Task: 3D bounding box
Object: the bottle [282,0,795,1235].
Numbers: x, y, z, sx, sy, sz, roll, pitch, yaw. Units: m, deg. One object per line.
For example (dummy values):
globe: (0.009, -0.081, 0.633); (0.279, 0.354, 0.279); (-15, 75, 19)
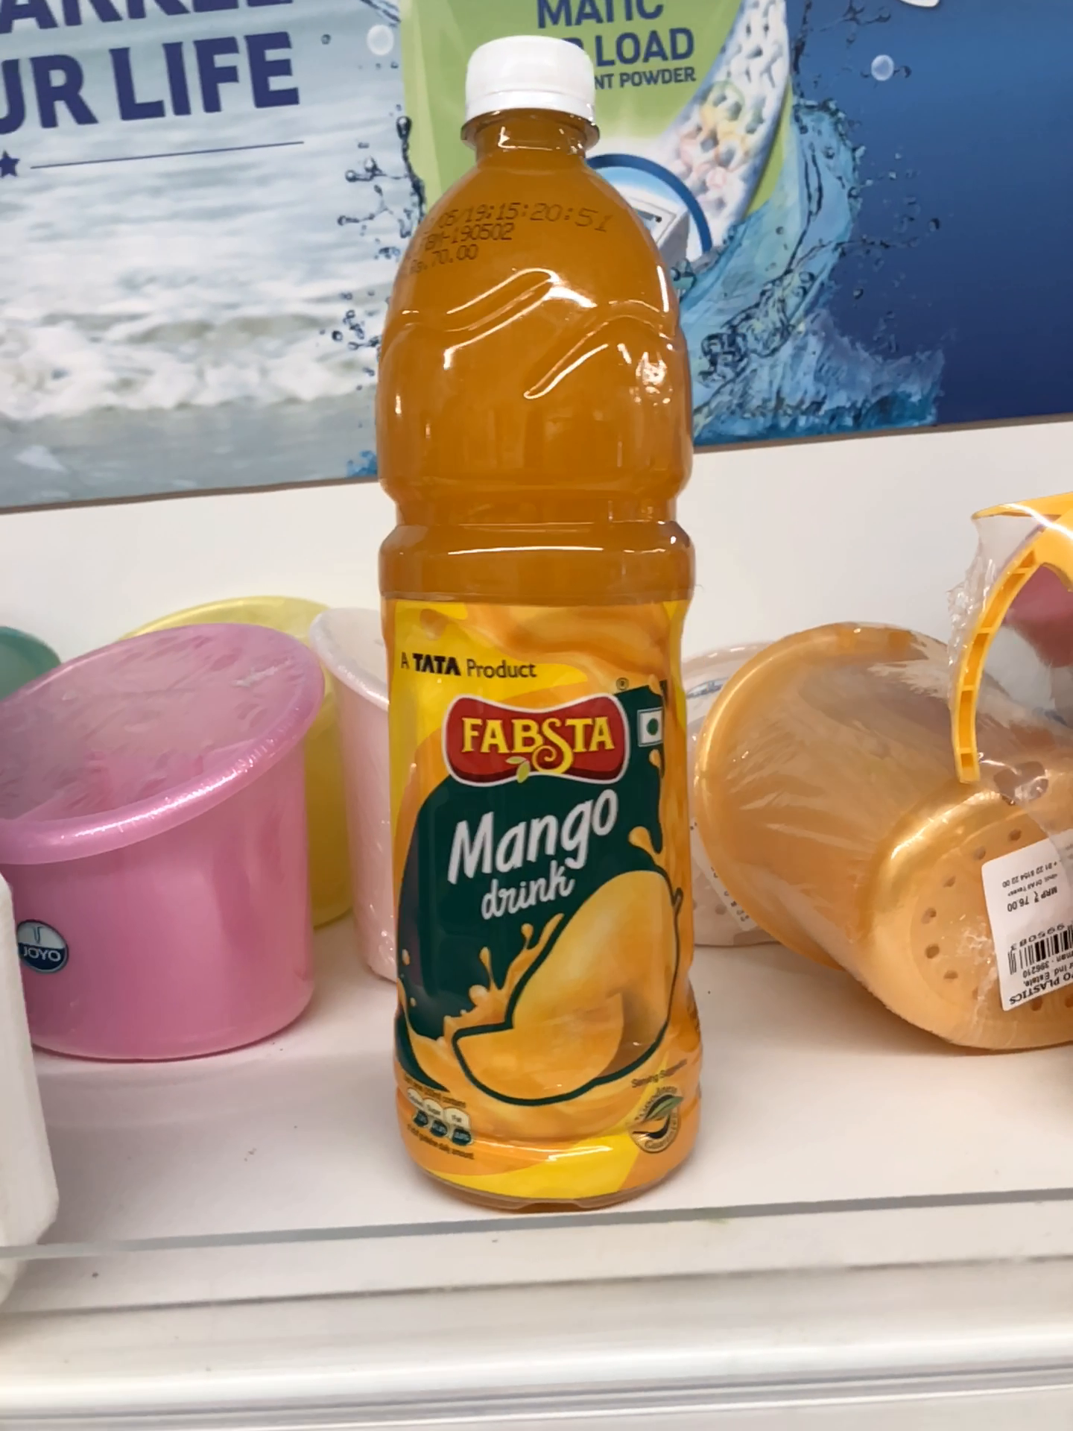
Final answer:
bottle: (0.003, -0.020, 0.294); (0.090, 0.259, 0.080); (-5, 8, -2)
